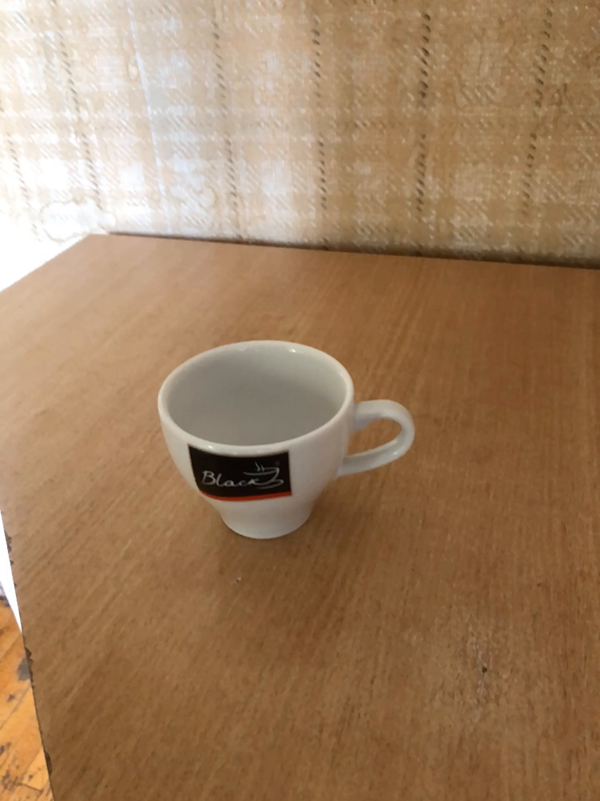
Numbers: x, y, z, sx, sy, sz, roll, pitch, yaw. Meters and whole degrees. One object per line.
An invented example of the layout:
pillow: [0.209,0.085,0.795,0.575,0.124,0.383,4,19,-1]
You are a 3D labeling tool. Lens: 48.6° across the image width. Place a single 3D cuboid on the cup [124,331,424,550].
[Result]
cup: [-0.005,0.013,0.275,0.104,0.050,0.081,0,33,6]
